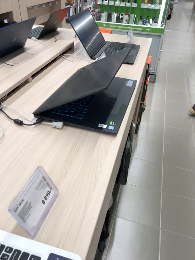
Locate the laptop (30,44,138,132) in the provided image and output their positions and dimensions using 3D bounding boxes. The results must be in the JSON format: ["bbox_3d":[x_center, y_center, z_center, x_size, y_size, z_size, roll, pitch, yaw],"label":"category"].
[{"bbox_3d":[-0.018,-0.185,0.788,0.271,0.129,0.392,12,37,11],"label":"laptop"}]
